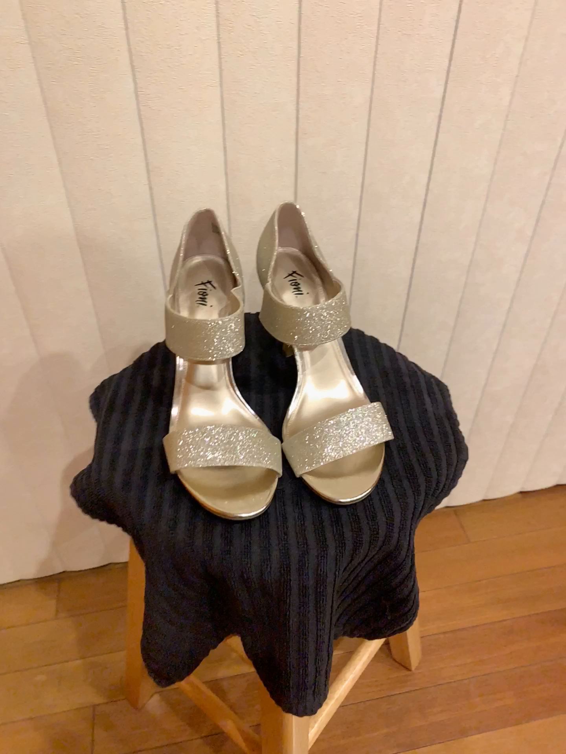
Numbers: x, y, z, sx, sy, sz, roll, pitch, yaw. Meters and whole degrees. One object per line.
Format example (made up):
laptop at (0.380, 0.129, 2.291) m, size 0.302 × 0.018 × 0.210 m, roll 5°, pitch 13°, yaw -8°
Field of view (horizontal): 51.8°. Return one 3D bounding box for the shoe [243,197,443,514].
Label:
shoe at (0.031, -0.031, 0.477) m, size 0.090 × 0.129 × 0.238 m, roll -7°, pitch 43°, yaw -8°

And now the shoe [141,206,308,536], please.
shoe at (-0.054, -0.019, 0.463) m, size 0.095 × 0.129 × 0.237 m, roll -7°, pitch 43°, yaw -8°
